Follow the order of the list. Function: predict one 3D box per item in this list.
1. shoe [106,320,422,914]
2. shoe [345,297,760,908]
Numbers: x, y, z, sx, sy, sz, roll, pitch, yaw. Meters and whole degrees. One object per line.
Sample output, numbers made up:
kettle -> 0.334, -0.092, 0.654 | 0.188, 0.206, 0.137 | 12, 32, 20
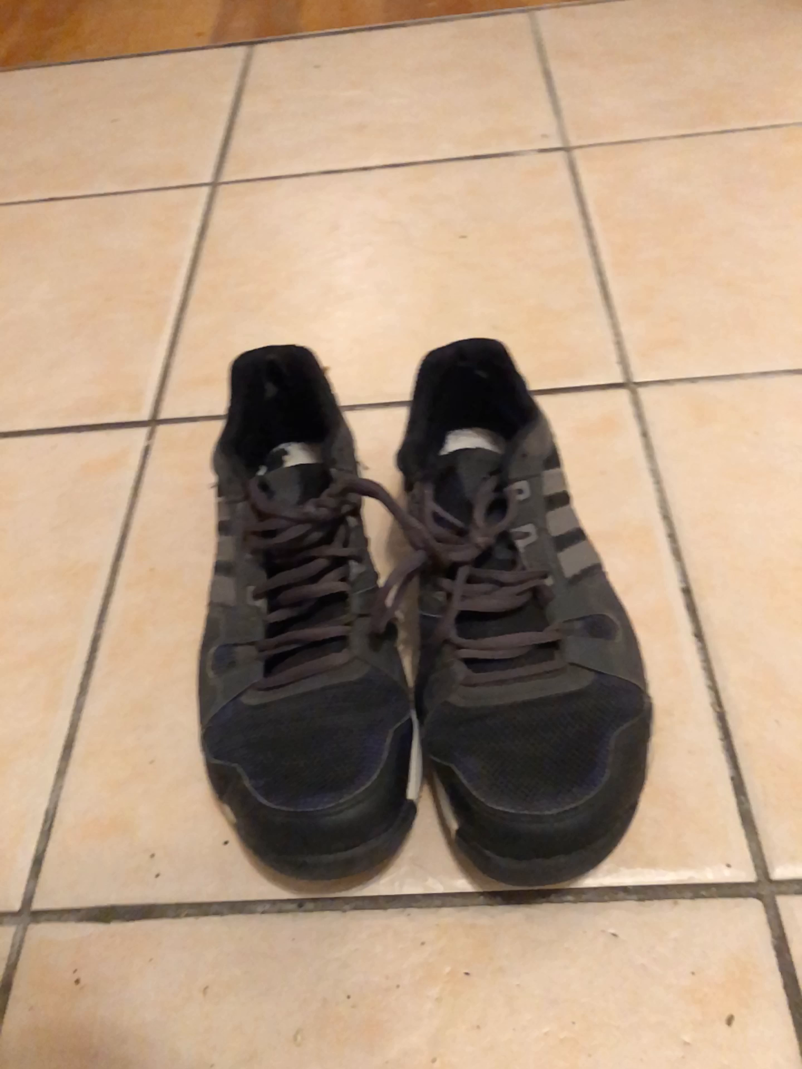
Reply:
shoe -> -0.064, 0.022, 0.444 | 0.110, 0.099, 0.282 | -7, 48, -3
shoe -> 0.052, 0.014, 0.437 | 0.120, 0.099, 0.282 | -10, 48, -1
